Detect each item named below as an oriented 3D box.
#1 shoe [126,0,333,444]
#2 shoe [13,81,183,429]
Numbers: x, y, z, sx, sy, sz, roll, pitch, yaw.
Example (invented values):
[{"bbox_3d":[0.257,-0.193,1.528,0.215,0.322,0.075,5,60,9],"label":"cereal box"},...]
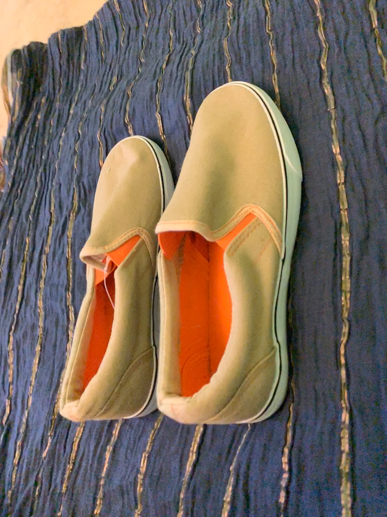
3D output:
[{"bbox_3d":[0.025,-0.026,0.285,0.100,0.079,0.271,-11,69,35],"label":"shoe"},{"bbox_3d":[-0.073,-0.002,0.345,0.096,0.079,0.263,-12,69,35],"label":"shoe"}]
